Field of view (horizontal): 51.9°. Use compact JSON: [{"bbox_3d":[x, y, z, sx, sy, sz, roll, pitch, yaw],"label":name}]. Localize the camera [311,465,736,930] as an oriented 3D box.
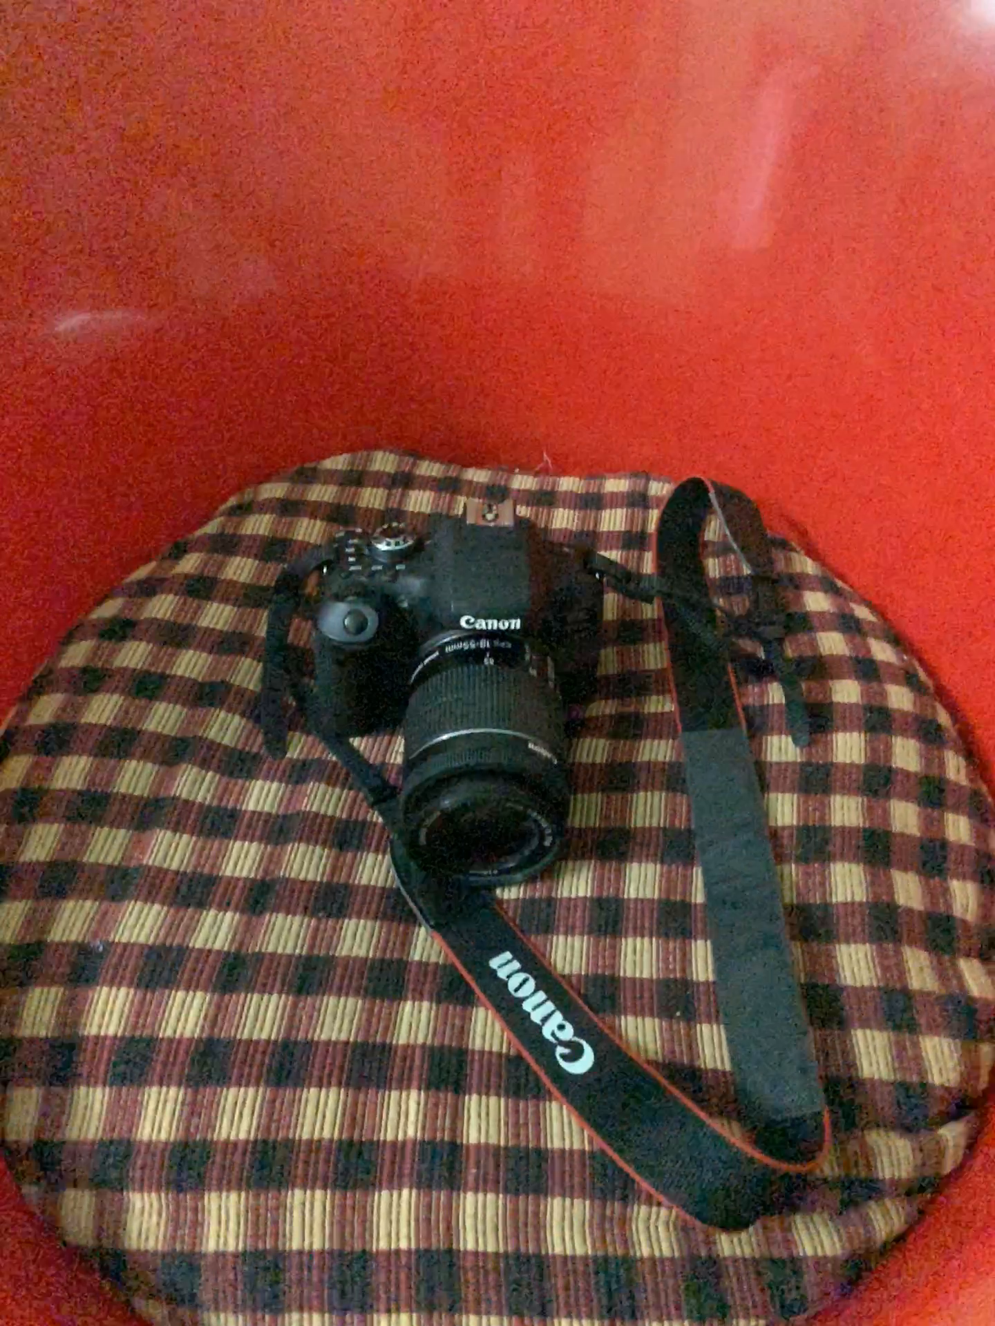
[{"bbox_3d":[0.010,0.016,0.429,0.140,0.129,0.139,3,50,1],"label":"camera"}]
